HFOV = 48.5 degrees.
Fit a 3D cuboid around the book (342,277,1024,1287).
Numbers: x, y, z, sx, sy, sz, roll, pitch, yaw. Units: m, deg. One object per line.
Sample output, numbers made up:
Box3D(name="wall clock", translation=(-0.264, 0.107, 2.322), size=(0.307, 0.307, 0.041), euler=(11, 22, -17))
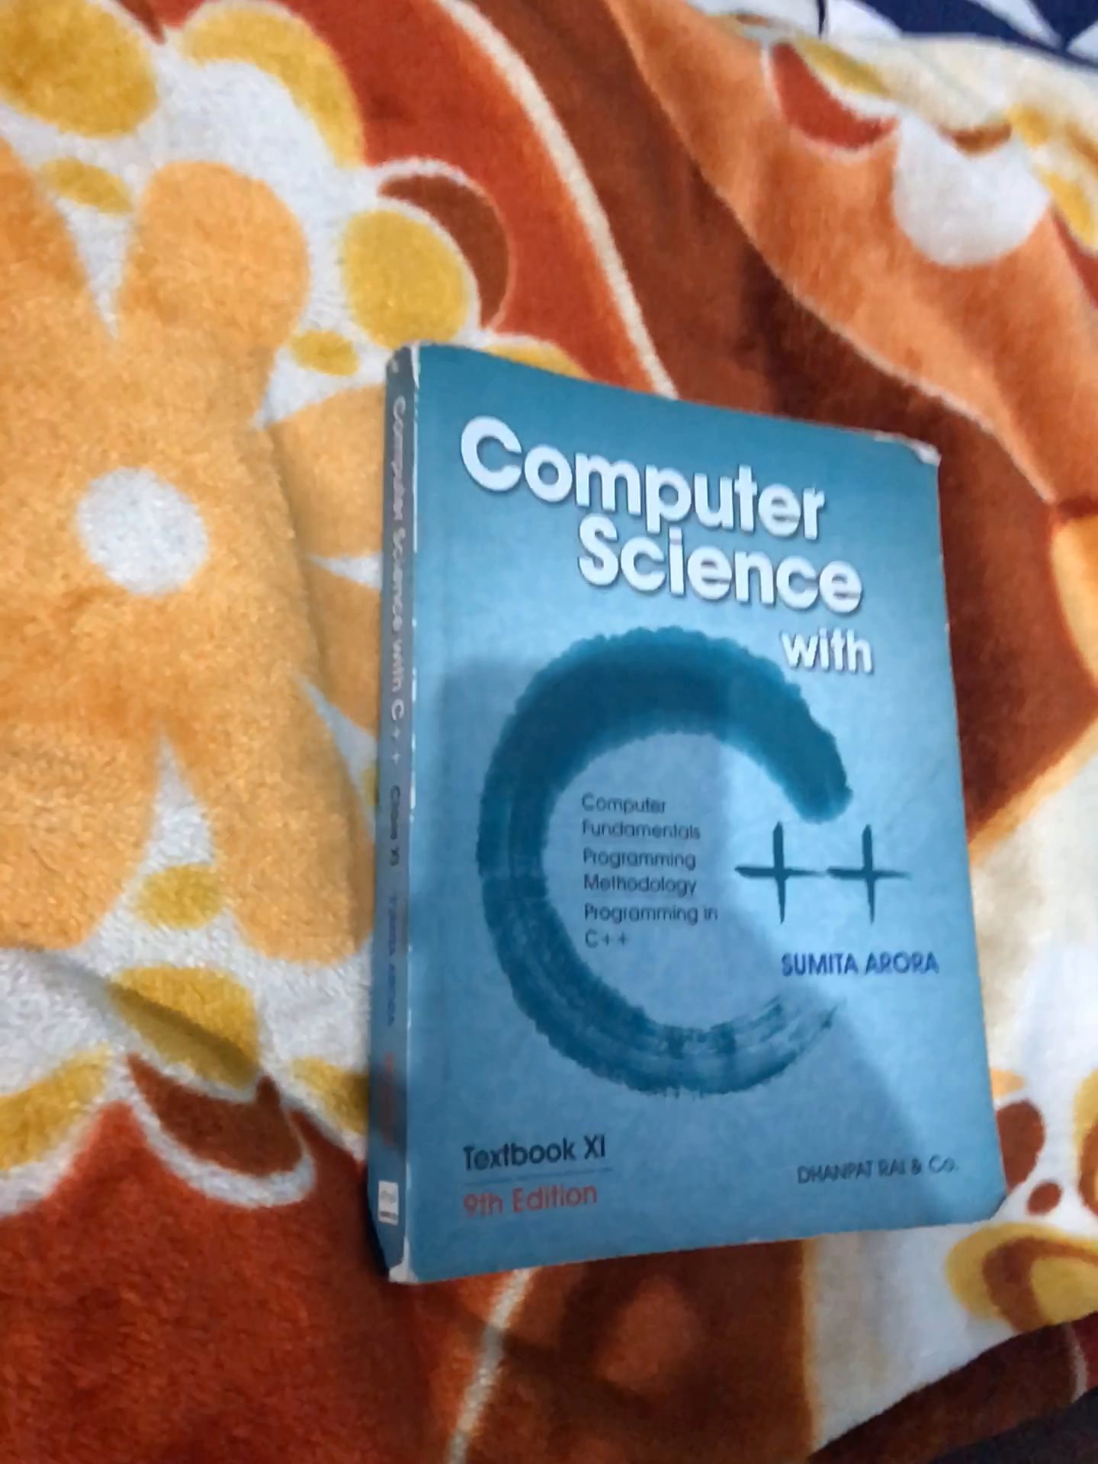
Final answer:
Box3D(name="book", translation=(0.047, 0.014, 0.385), size=(0.211, 0.040, 0.270), euler=(5, 78, -25))
